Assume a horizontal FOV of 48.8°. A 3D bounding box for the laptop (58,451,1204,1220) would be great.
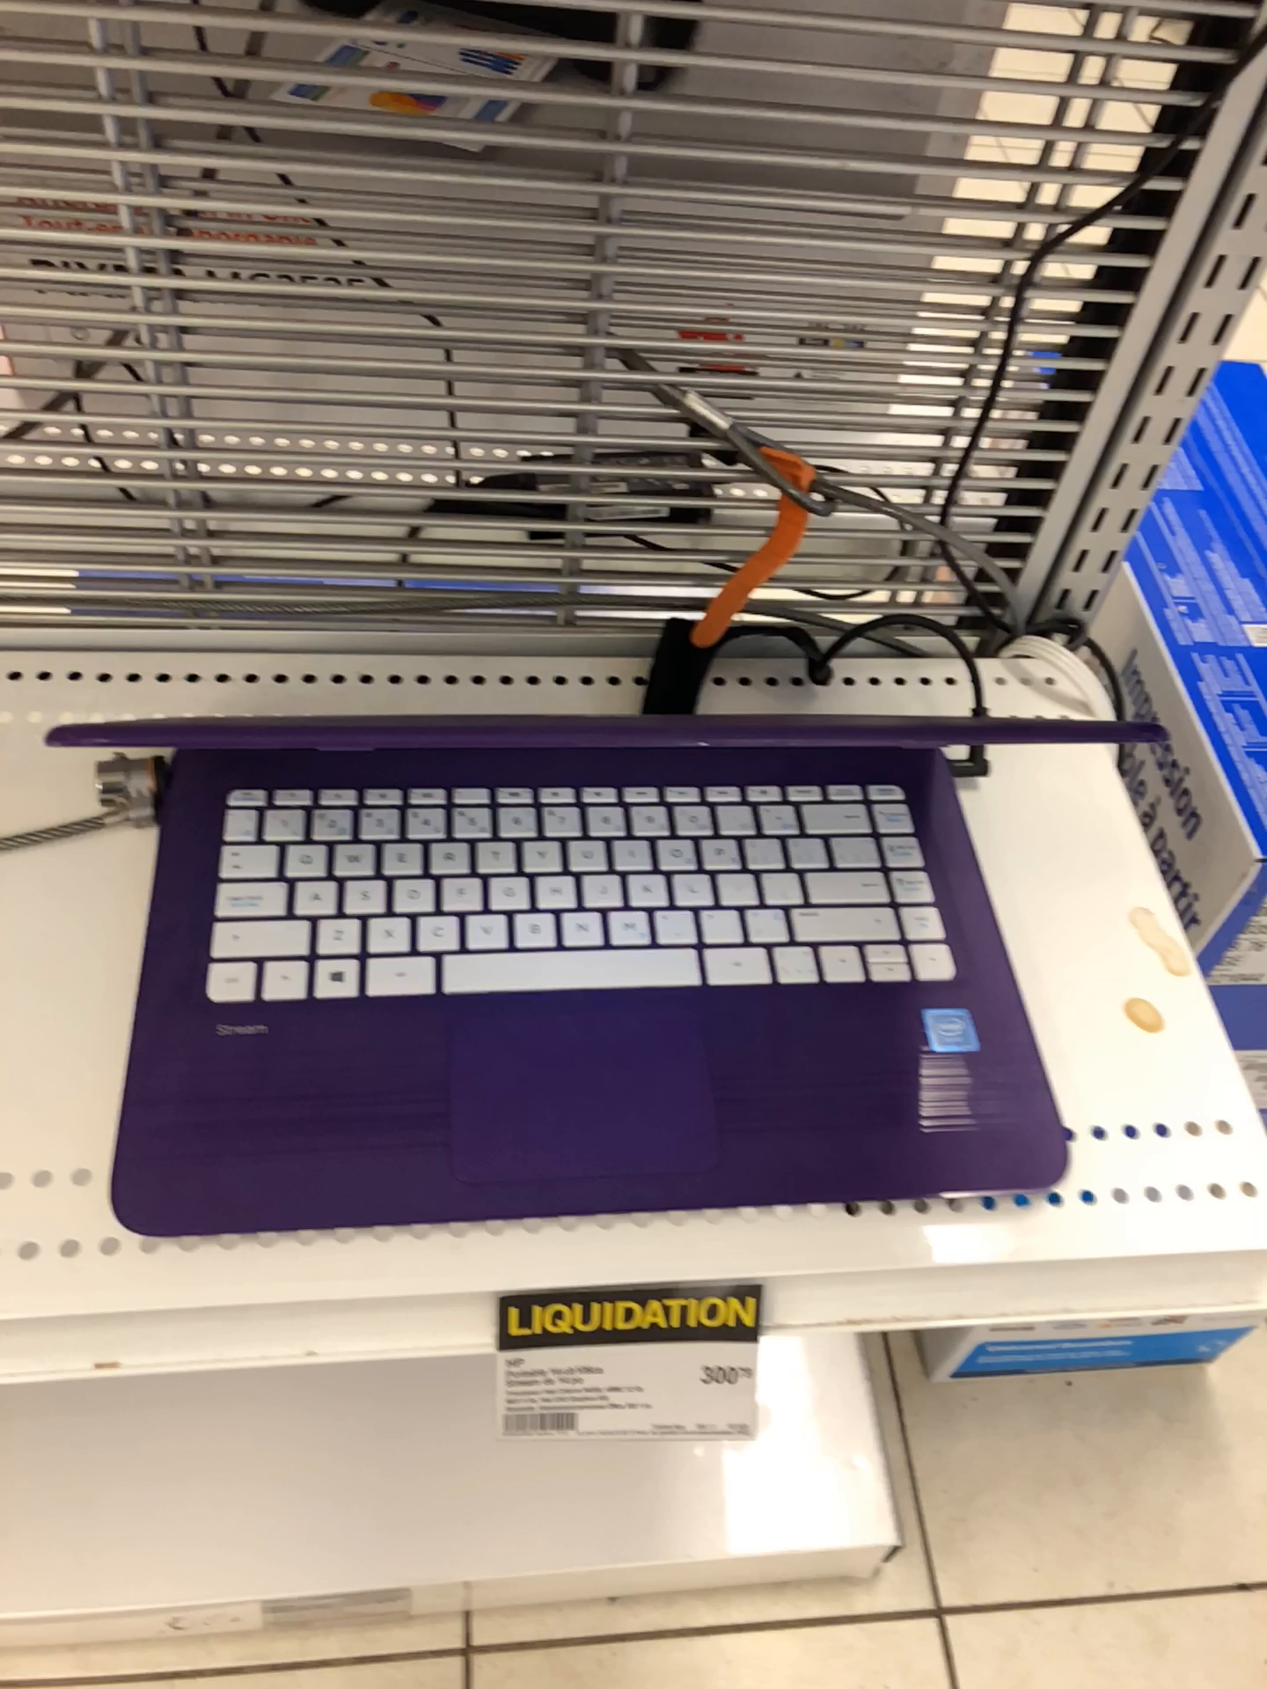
[{"bbox_3d":[-0.007,-0.007,0.481,0.305,0.138,0.207,0,53,-8],"label":"laptop"}]
